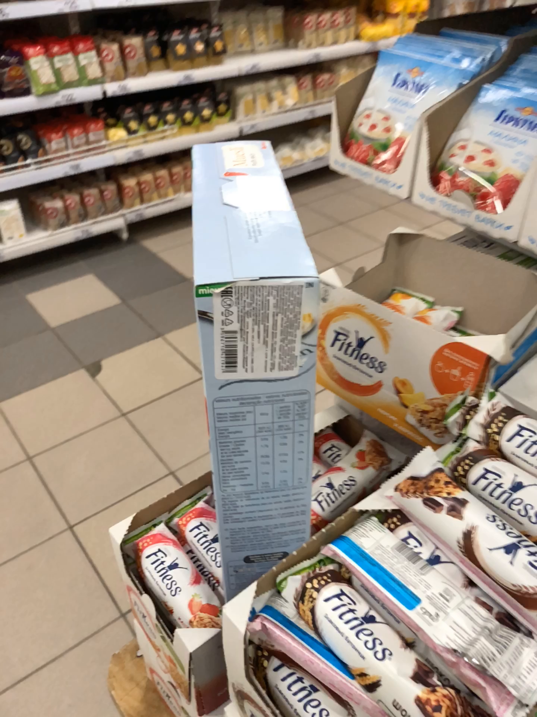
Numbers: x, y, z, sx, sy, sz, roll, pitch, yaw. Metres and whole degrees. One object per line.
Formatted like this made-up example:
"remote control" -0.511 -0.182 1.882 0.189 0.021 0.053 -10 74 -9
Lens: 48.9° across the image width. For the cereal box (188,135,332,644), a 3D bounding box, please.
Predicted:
"cereal box" -0.010 0.023 0.411 0.060 0.288 0.201 -3 37 -3
